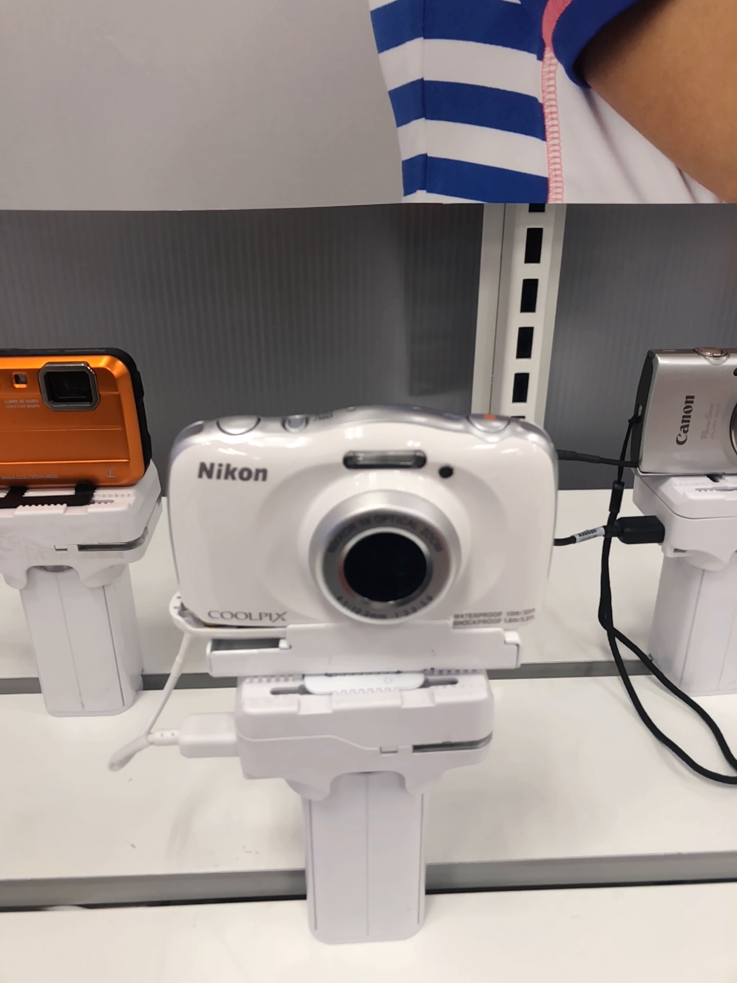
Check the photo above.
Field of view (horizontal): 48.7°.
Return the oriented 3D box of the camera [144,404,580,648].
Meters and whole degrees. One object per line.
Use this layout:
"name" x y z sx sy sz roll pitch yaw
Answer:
"camera" -0.002 0.009 0.223 0.105 0.056 0.032 -1 27 -3
